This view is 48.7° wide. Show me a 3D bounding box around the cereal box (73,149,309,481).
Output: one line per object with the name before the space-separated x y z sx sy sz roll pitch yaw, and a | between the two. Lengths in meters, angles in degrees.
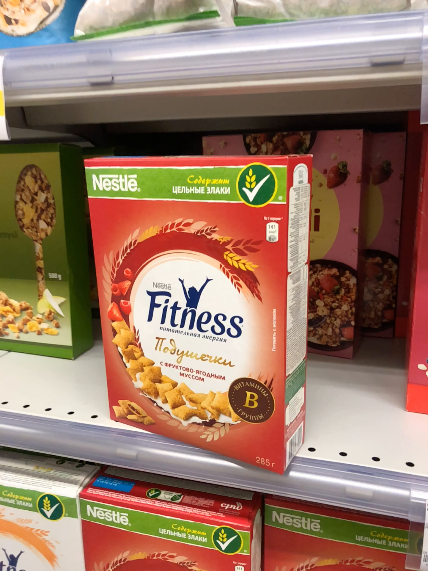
cereal box | -0.019 0.015 0.389 0.180 0.239 0.050 7 18 30
